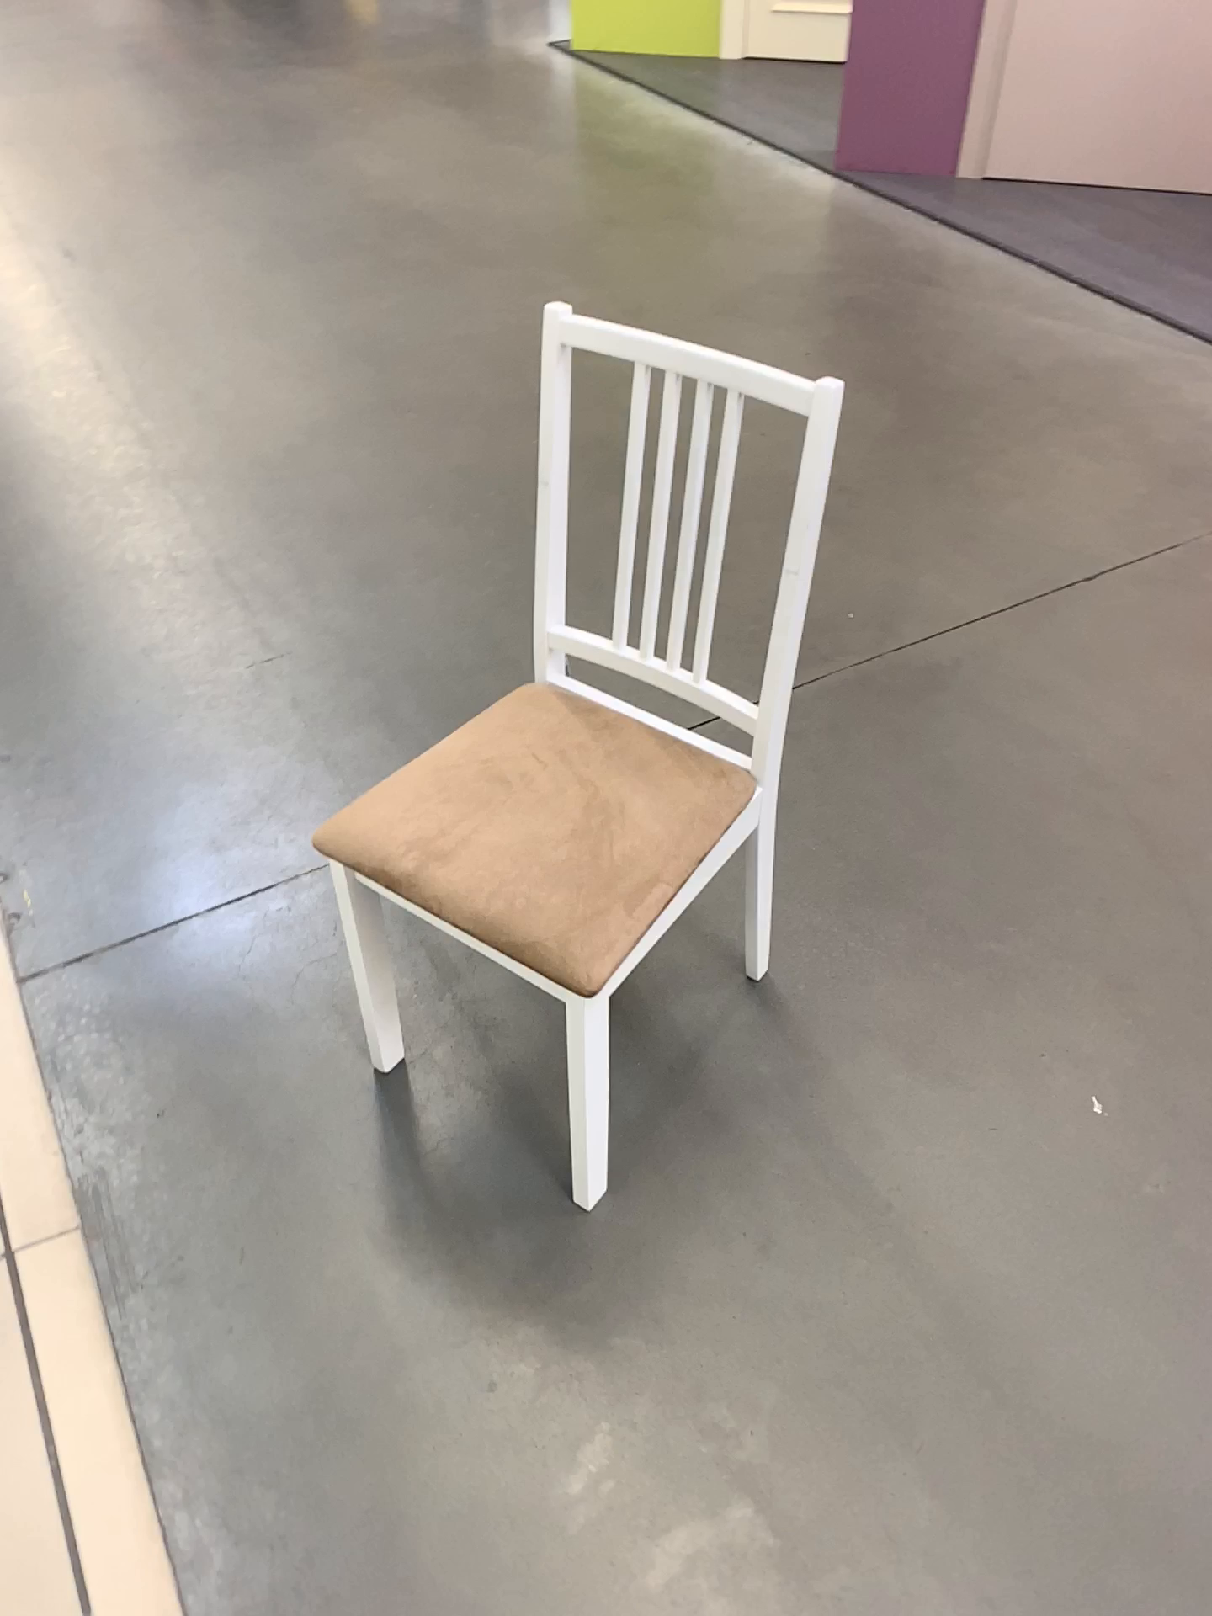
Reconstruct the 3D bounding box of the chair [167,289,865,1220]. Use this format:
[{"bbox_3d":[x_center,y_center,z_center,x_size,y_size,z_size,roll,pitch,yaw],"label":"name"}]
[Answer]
[{"bbox_3d":[-0.053,-0.044,1.371,0.401,0.816,0.501,24,48,25],"label":"chair"}]
